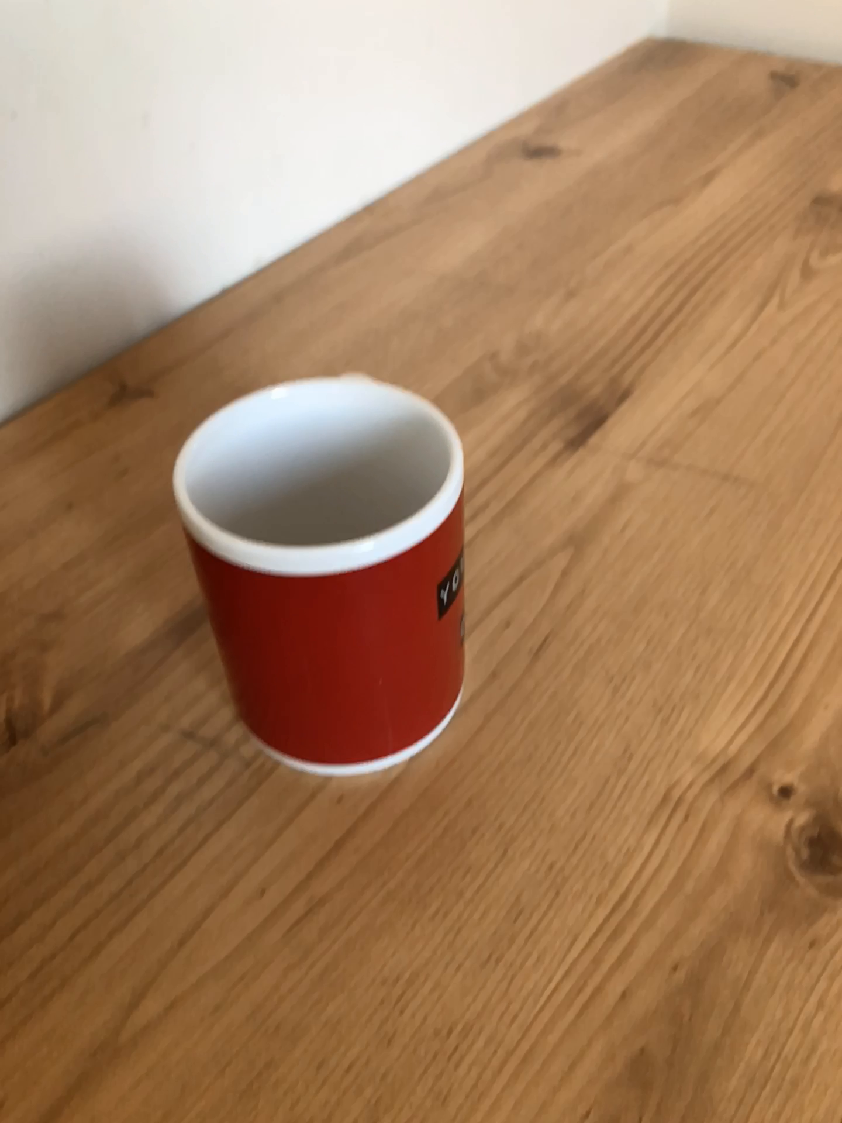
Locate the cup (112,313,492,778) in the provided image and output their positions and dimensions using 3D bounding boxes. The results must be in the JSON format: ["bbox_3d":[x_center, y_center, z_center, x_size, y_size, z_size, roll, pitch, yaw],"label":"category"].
[{"bbox_3d":[-0.024,-0.009,0.303,0.091,0.086,0.124,1,43,5],"label":"cup"}]
